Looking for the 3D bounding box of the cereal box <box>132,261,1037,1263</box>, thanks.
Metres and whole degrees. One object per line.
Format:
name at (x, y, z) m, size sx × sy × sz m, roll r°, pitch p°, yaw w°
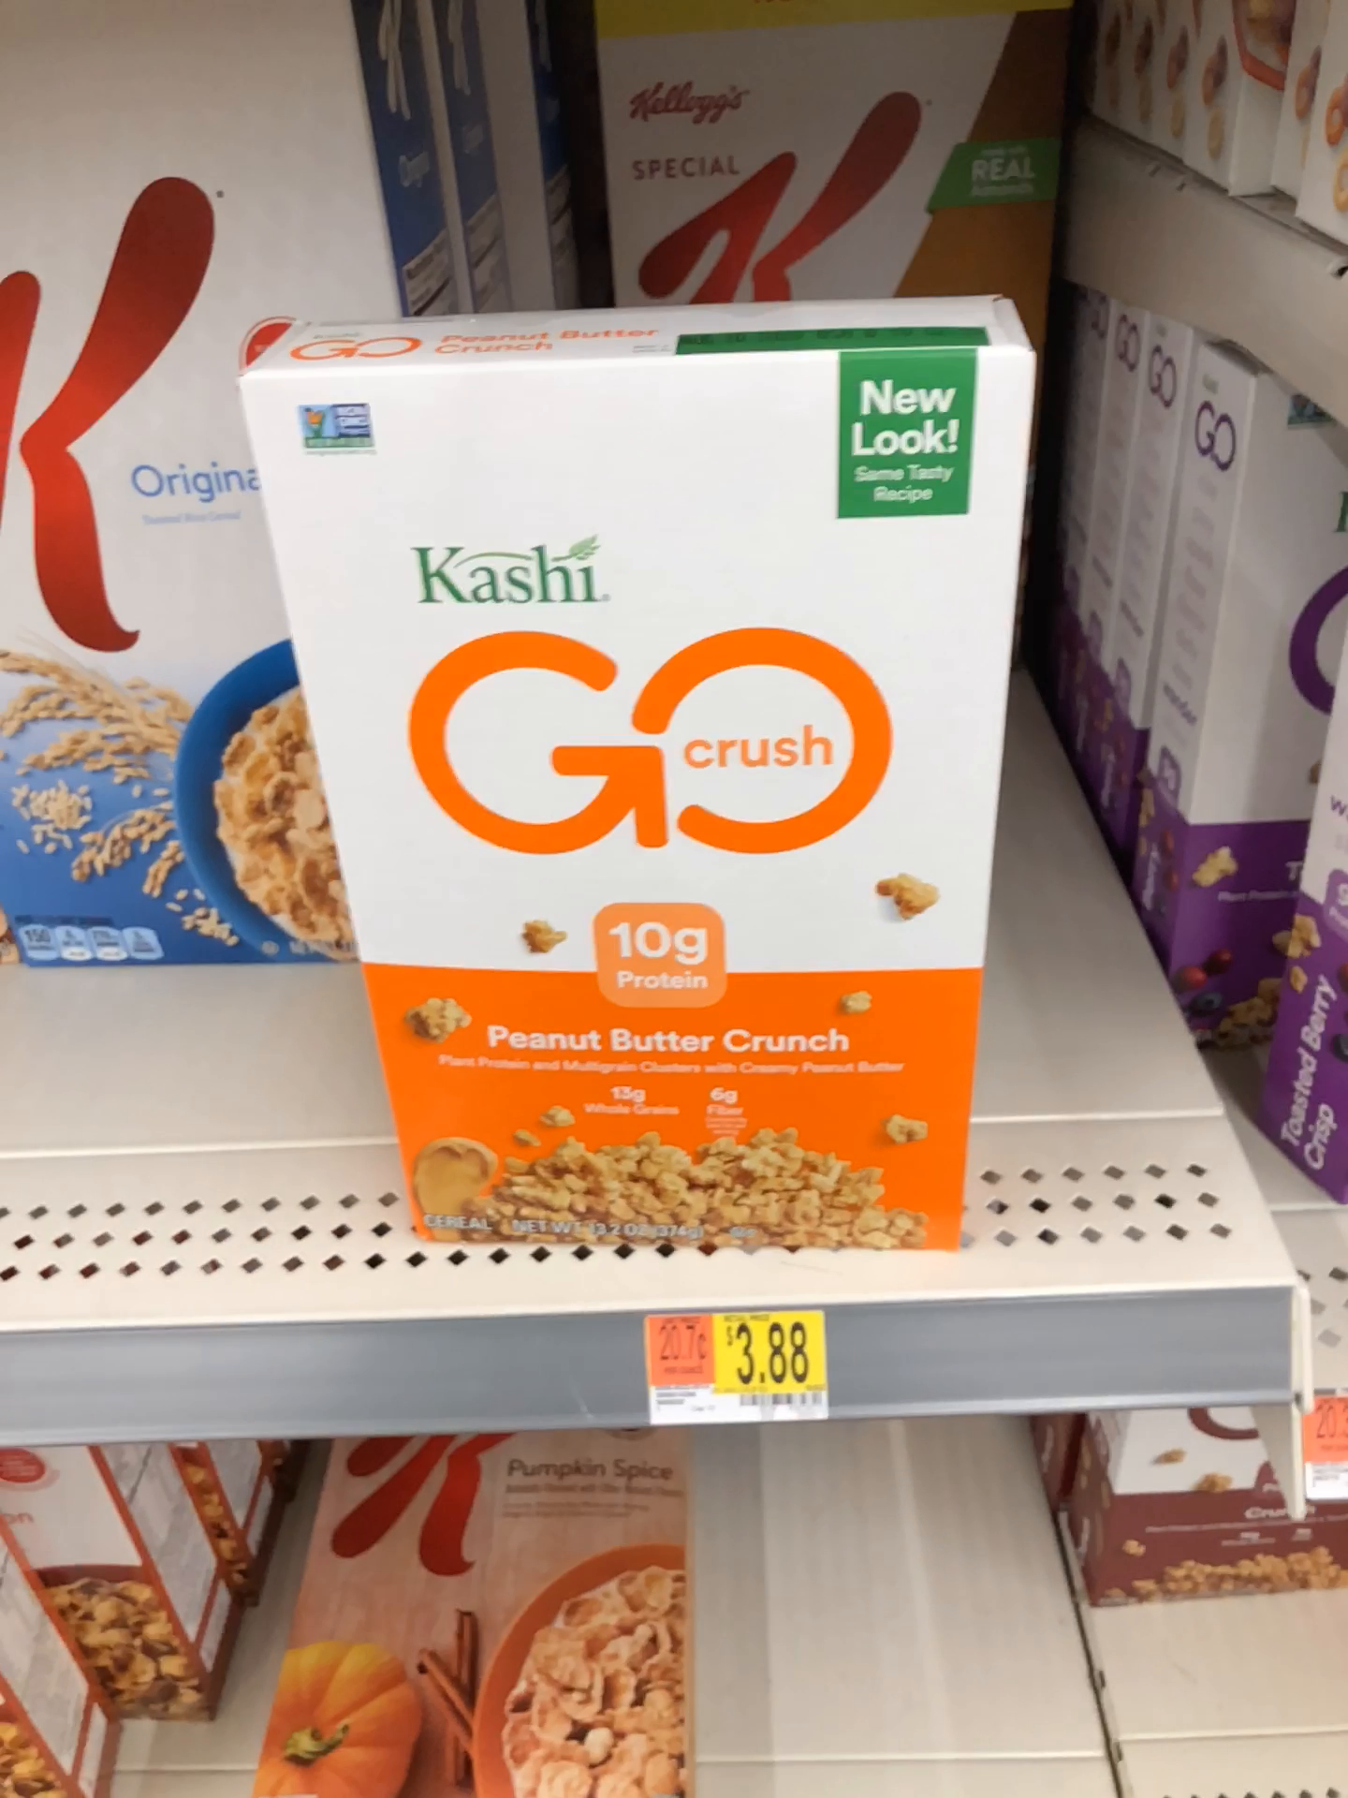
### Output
cereal box at (-0.009, -0.015, 0.370) m, size 0.170 × 0.249 × 0.050 m, roll 0°, pitch 35°, yaw 6°
